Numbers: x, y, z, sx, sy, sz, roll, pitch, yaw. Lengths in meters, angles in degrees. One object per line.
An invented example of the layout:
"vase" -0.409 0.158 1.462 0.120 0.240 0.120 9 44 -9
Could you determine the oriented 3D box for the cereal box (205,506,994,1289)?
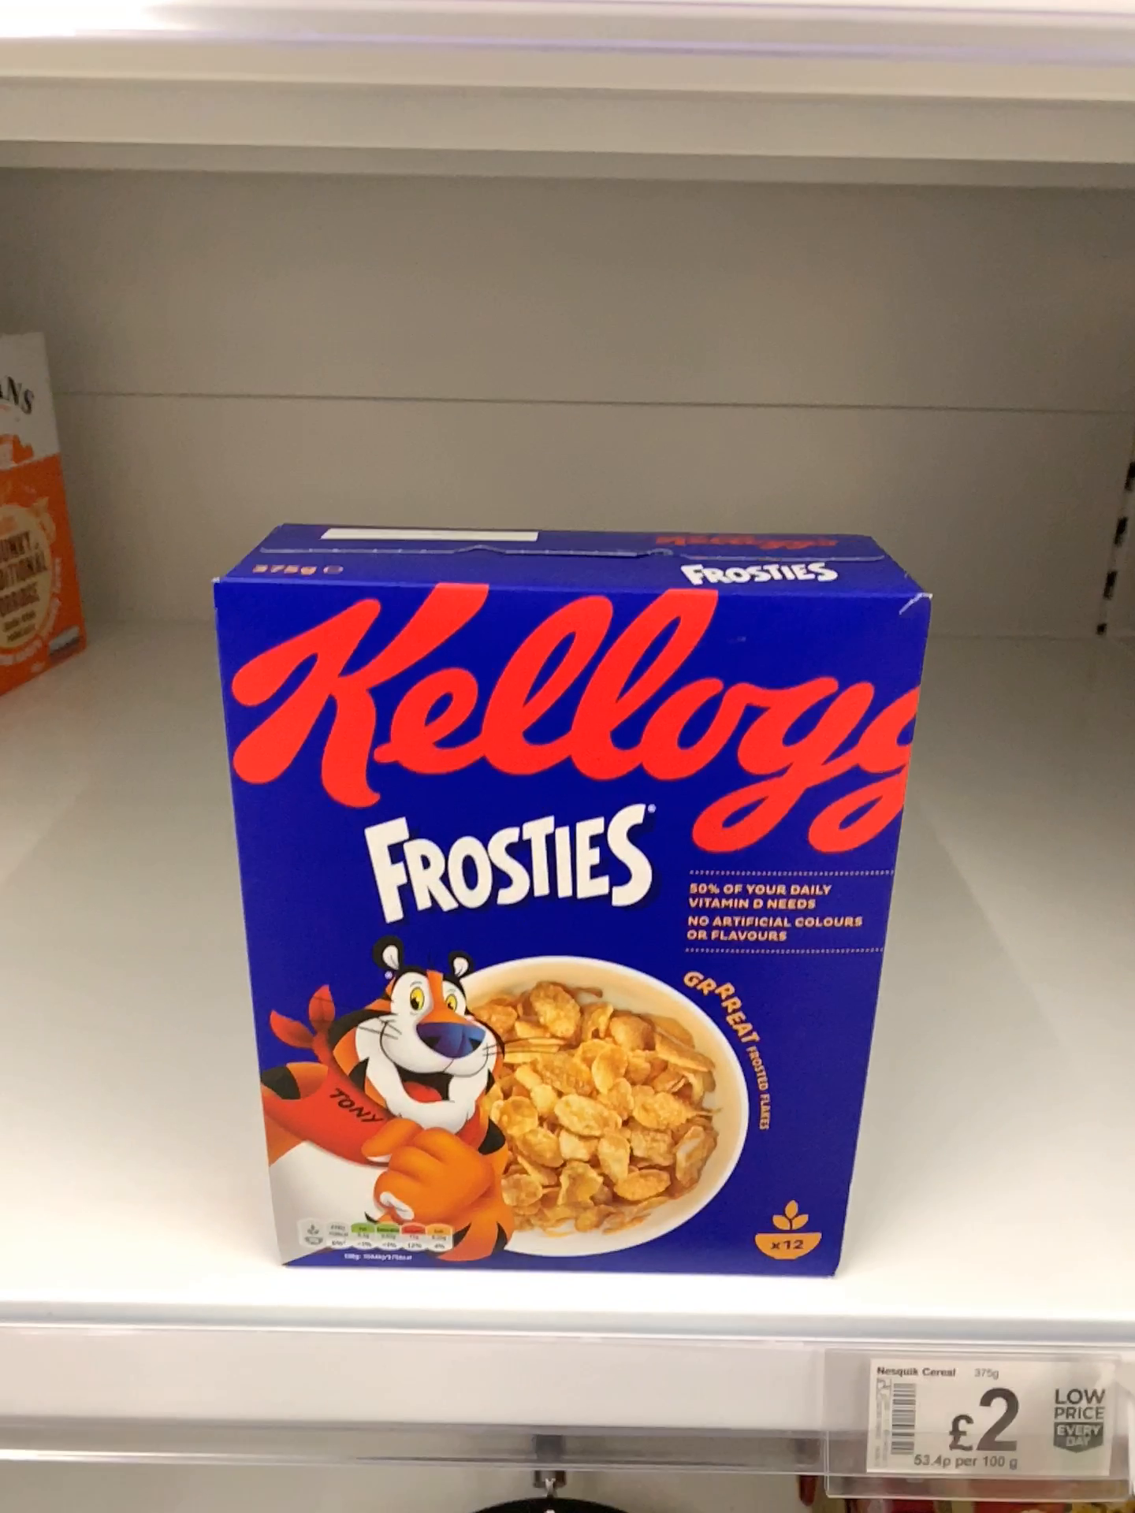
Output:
"cereal box" 0.006 0.049 0.380 0.200 0.238 0.081 1 23 0
